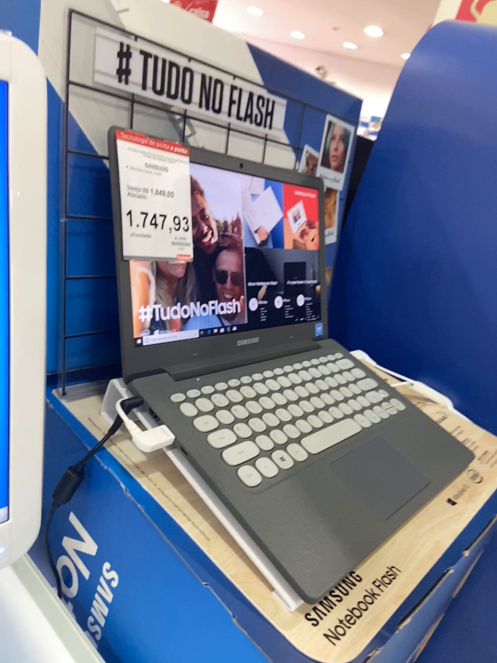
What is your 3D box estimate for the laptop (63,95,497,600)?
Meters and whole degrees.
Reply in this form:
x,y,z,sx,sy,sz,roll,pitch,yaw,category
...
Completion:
x,y,z,sx,sy,sz,roll,pitch,yaw,category
0.062,-0.029,0.496,0.345,0.181,0.323,40,29,31,laptop
